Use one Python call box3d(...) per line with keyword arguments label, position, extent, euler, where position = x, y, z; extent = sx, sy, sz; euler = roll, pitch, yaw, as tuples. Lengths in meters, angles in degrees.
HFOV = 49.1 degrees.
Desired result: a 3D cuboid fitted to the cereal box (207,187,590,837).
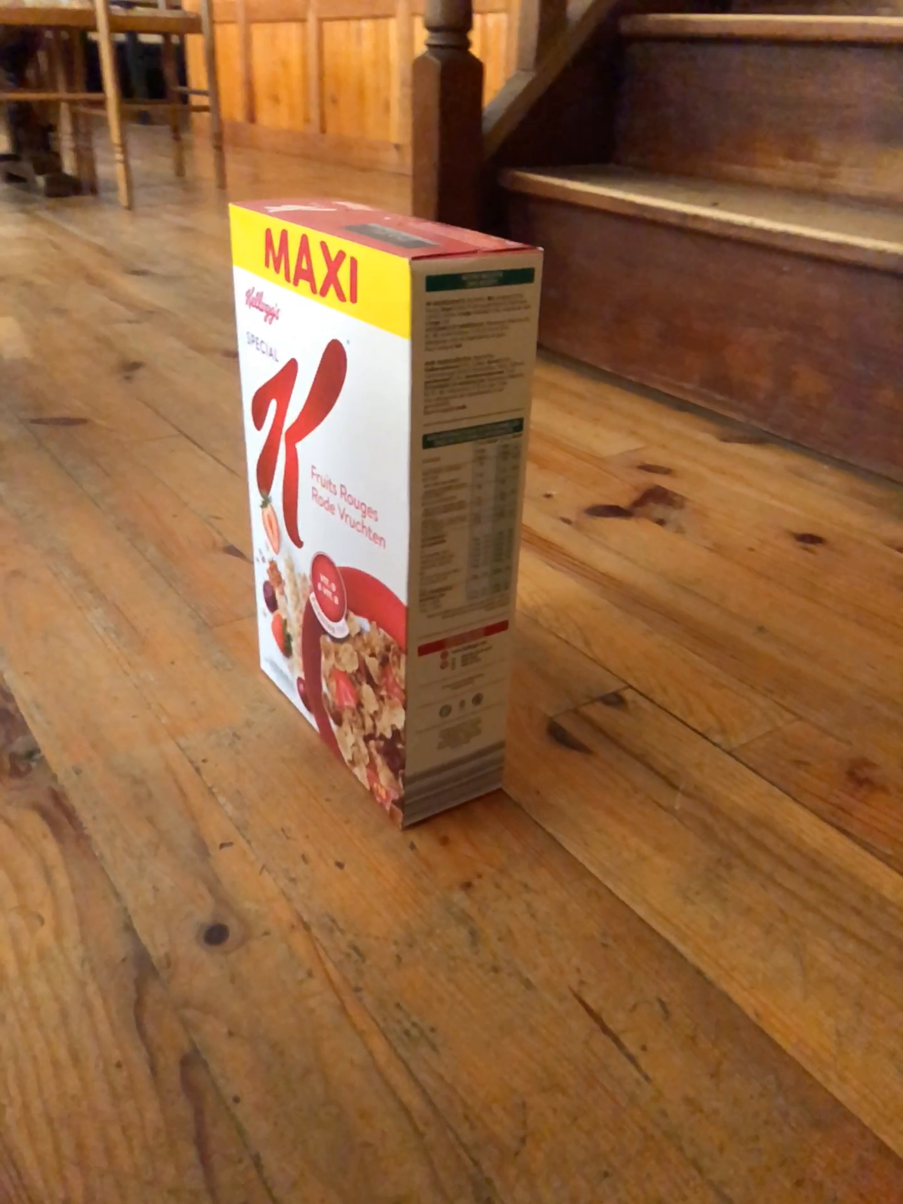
box3d(label="cereal box", position=(-0.041, -0.060, 0.543), extent=(0.090, 0.288, 0.210), euler=(-15, 33, -30))
